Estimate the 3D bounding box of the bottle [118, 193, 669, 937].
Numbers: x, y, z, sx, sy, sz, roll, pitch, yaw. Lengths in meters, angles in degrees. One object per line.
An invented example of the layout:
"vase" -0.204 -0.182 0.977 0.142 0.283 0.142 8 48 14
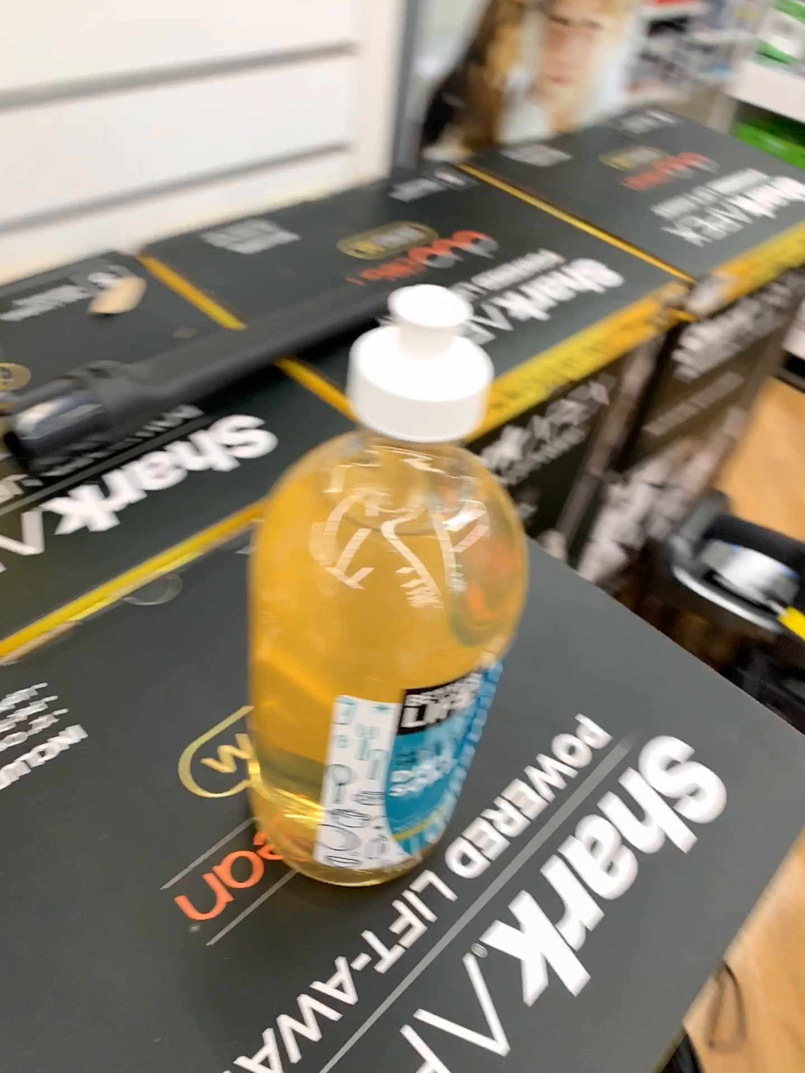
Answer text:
"bottle" -0.015 0.021 0.259 0.090 0.209 0.090 4 44 -4
